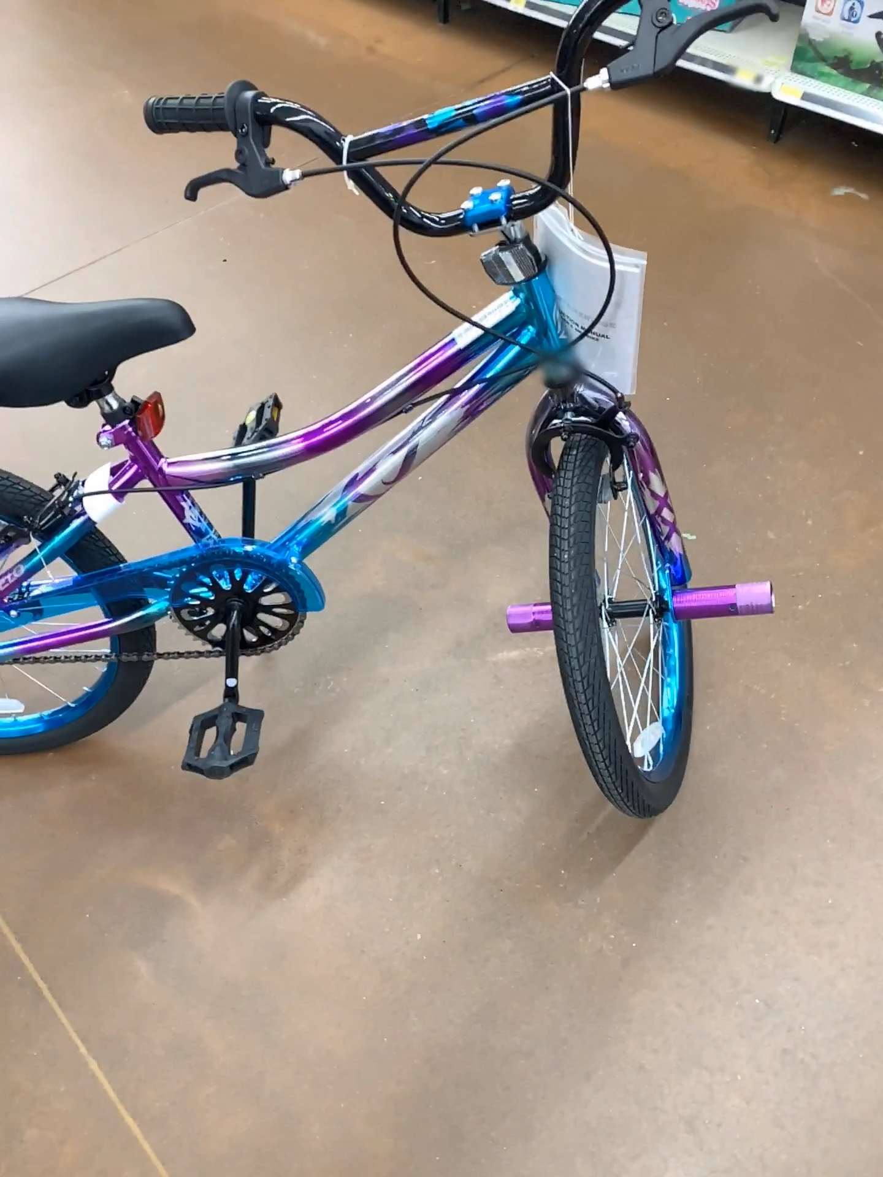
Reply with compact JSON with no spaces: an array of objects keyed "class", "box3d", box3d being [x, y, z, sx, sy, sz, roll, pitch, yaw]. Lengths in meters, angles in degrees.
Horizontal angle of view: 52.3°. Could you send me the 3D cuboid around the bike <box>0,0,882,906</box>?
[{"class":"bike","box3d":[-0.276,-0.251,1.003,1.119,0.877,0.622,-9,51,-7]}]
